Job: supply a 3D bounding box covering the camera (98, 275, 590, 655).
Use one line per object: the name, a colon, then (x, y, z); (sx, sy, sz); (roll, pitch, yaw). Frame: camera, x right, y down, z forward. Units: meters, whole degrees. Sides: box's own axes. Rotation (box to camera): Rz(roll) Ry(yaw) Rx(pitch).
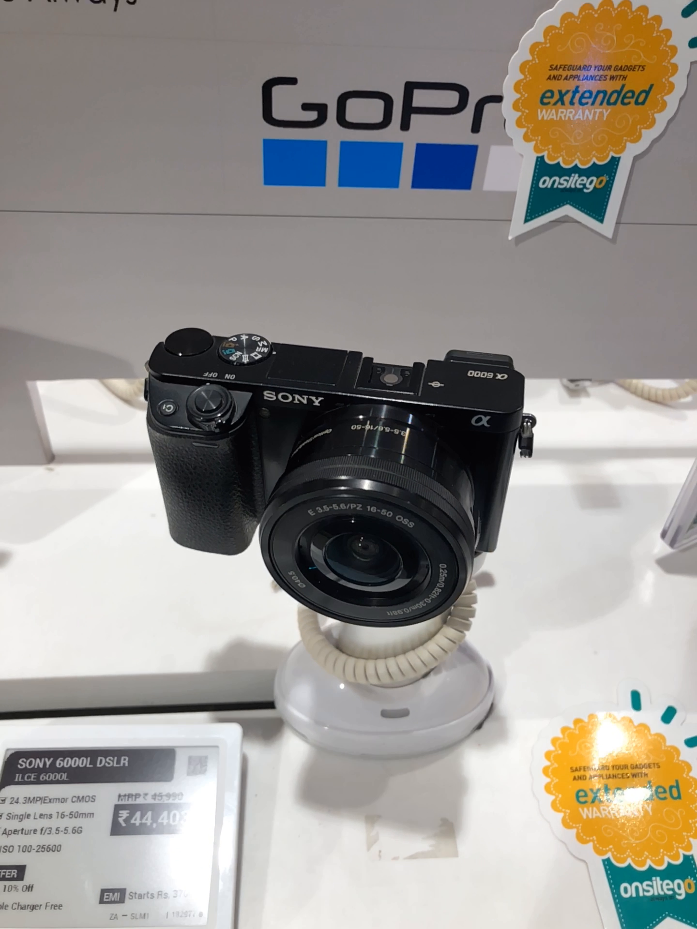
camera: (0.000, 0.000, 0.217); (0.110, 0.070, 0.060); (8, 43, 4)
